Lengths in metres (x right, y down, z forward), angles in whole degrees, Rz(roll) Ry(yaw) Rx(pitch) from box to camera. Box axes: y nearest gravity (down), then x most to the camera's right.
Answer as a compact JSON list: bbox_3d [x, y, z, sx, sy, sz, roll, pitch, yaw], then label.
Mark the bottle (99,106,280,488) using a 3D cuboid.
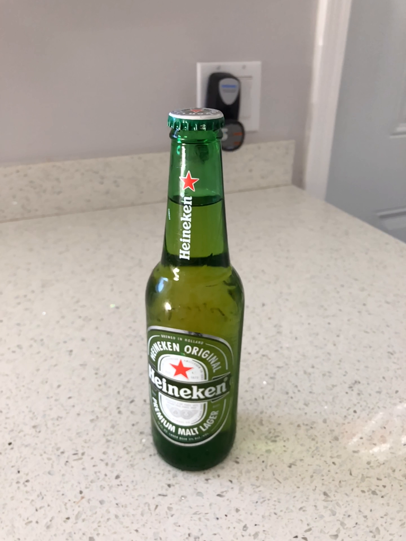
[{"bbox_3d":[-0.002,0.020,0.266,0.070,0.209,0.070,0,28,0],"label":"bottle"}]
